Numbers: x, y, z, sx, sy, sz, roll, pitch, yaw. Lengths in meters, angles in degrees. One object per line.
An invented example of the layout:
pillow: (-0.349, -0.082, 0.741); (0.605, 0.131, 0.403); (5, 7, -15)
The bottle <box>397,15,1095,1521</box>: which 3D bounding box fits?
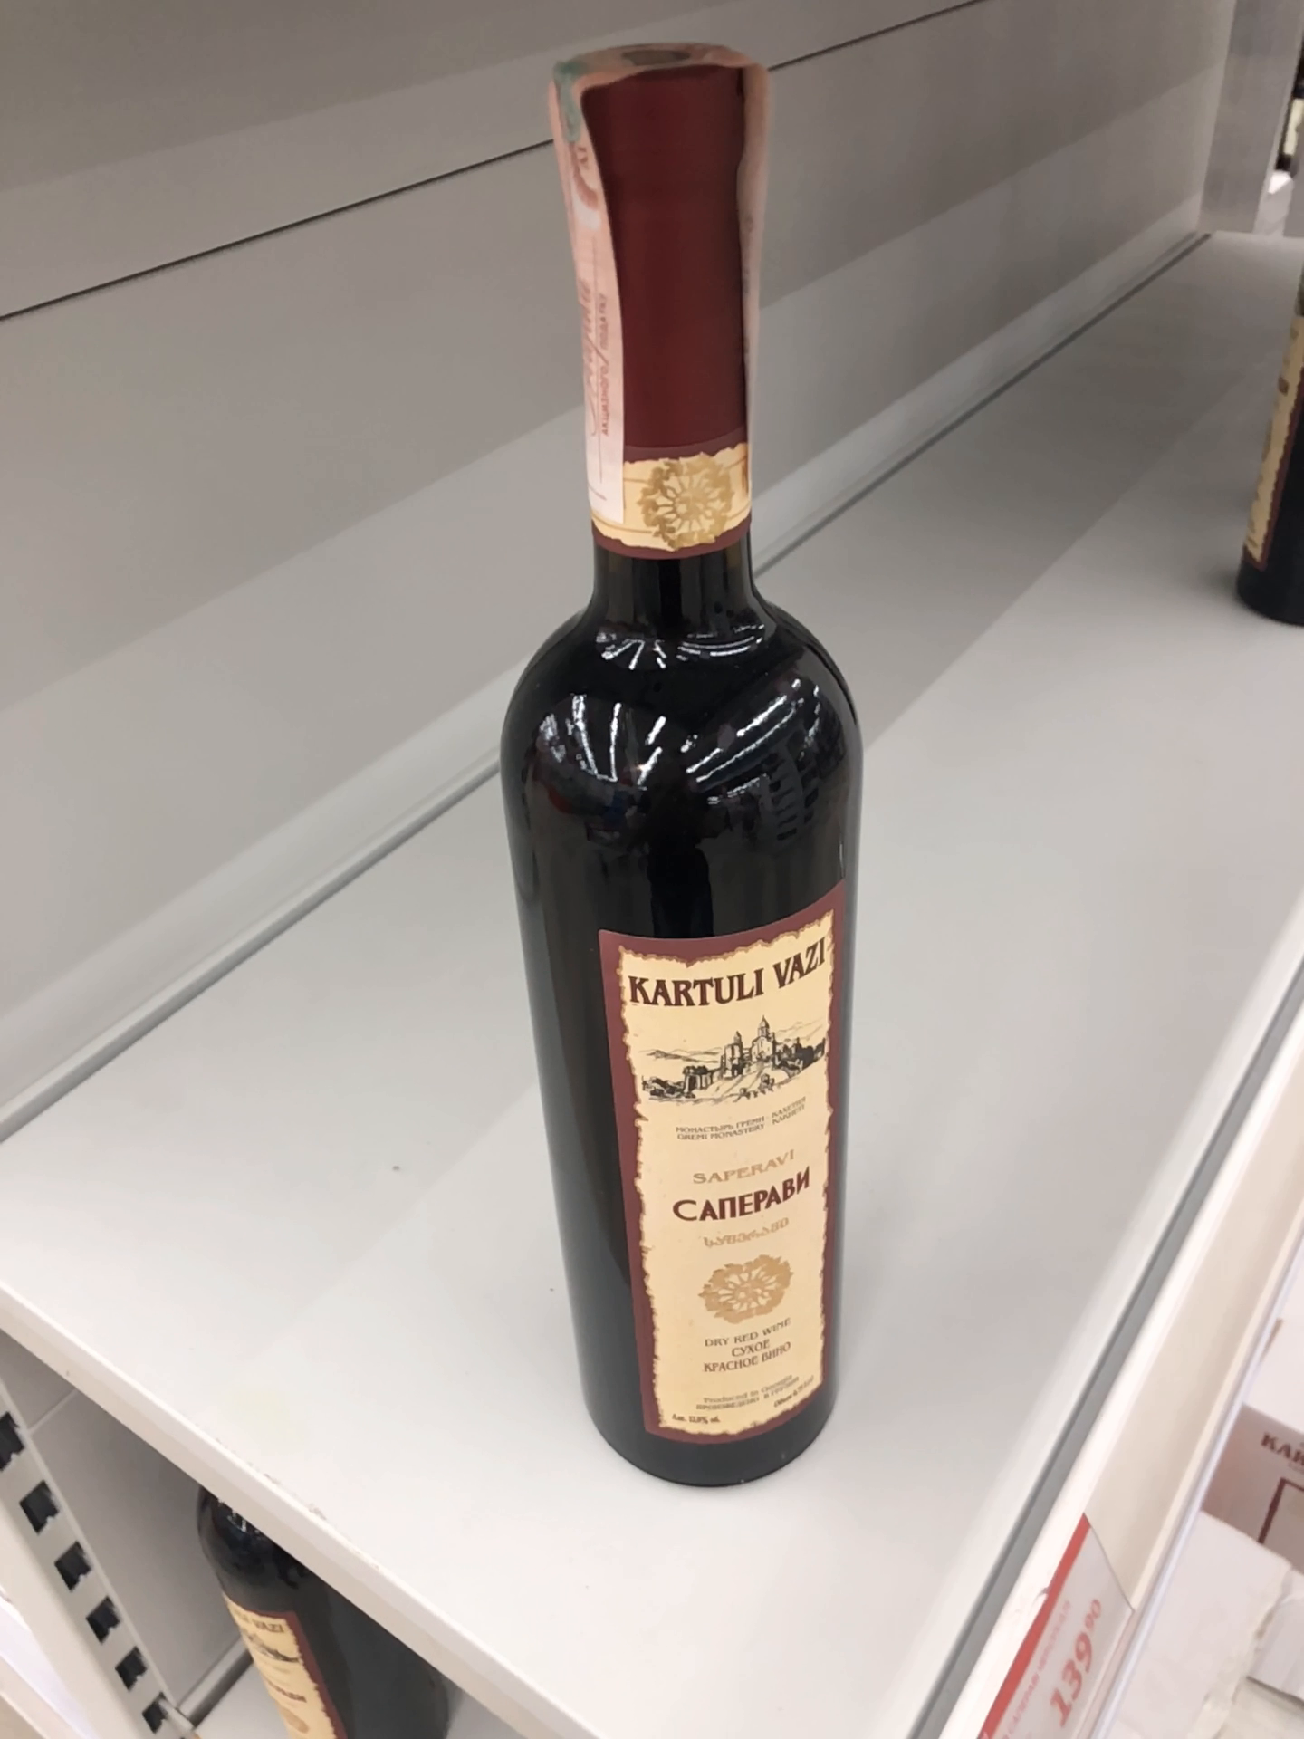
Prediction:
bottle: (0.015, 0.009, 0.289); (0.079, 0.299, 0.069); (-11, 37, -10)
